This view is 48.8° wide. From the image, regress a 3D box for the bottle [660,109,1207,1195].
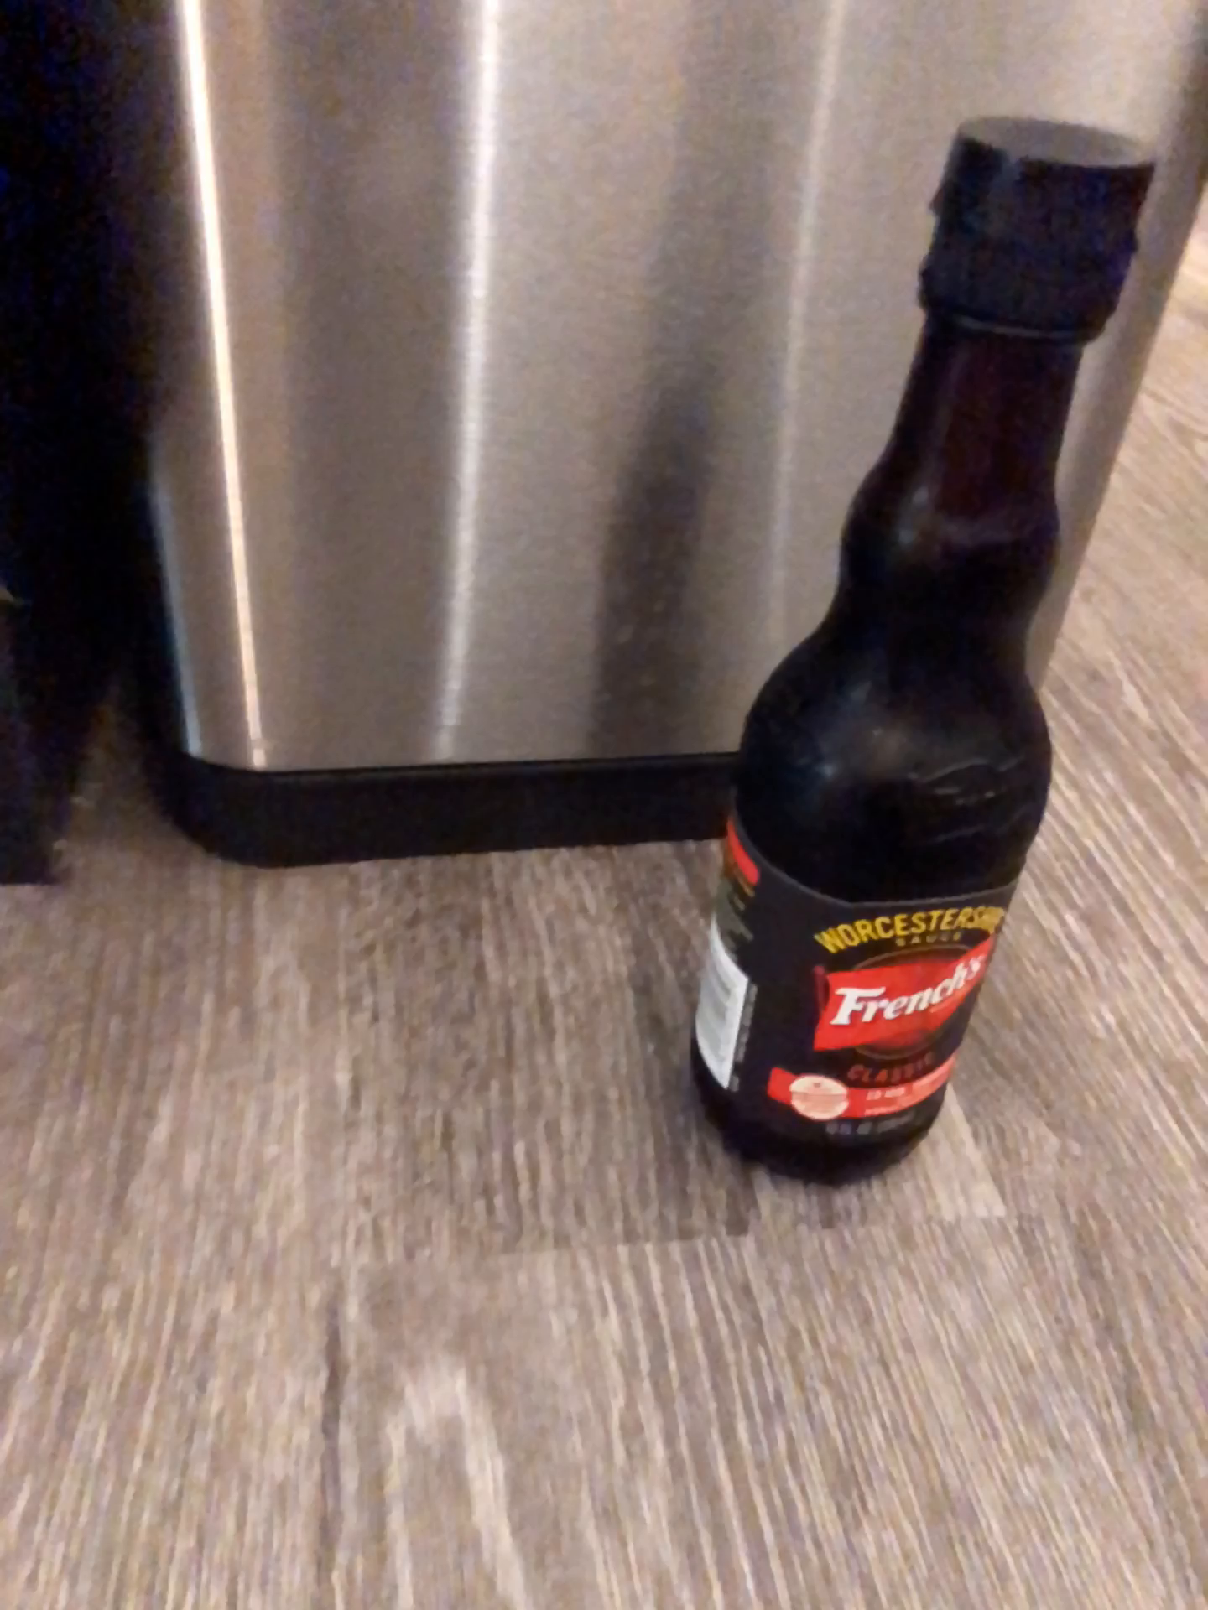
[{"bbox_3d":[0.058,-0.016,0.256,0.060,0.199,0.060,4,37,-3],"label":"bottle"}]
